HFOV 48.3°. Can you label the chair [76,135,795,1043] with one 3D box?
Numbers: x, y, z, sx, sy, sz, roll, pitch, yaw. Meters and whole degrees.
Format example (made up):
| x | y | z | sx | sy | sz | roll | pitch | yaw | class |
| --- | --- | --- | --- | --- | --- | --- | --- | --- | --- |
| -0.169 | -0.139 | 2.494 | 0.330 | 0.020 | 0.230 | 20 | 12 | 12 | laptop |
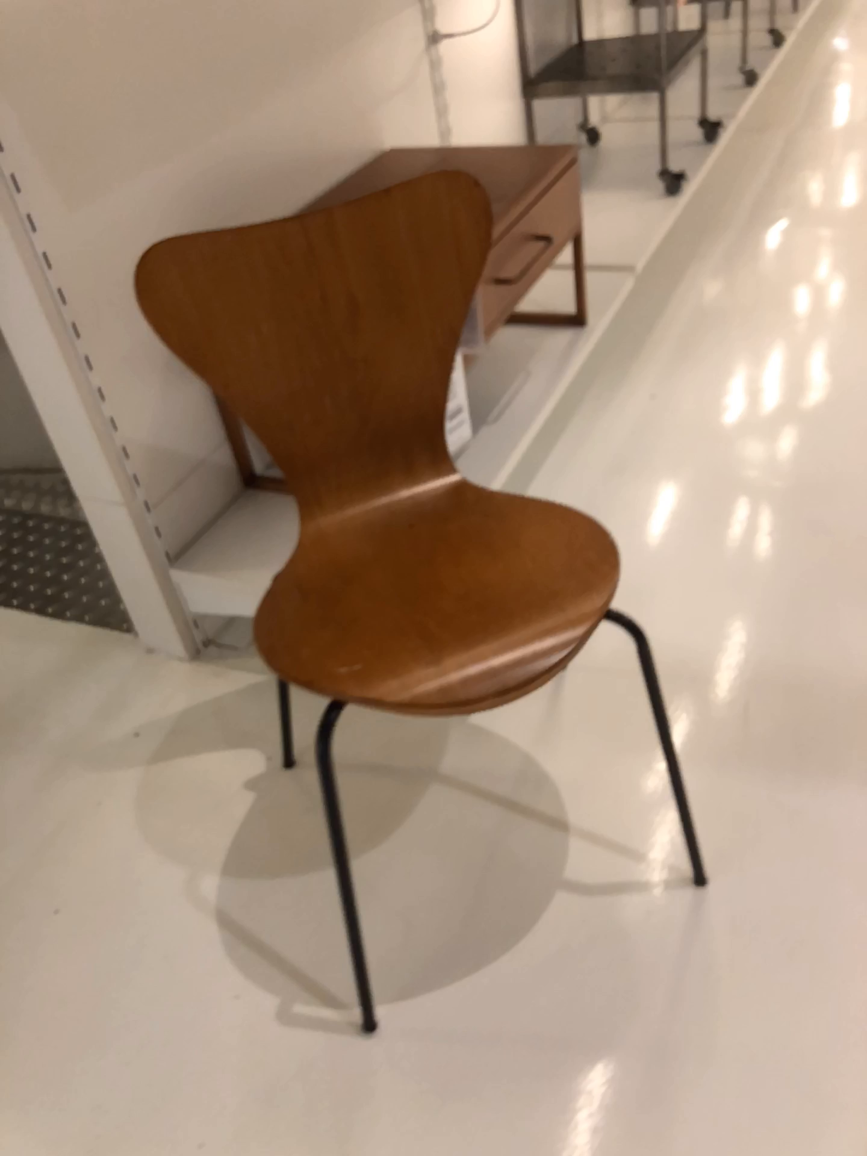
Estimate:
| x | y | z | sx | sy | sz | roll | pitch | yaw | class |
| --- | --- | --- | --- | --- | --- | --- | --- | --- | --- |
| -0.001 | -0.001 | 1.175 | 0.540 | 0.794 | 0.574 | -19 | 38 | -10 | chair |
